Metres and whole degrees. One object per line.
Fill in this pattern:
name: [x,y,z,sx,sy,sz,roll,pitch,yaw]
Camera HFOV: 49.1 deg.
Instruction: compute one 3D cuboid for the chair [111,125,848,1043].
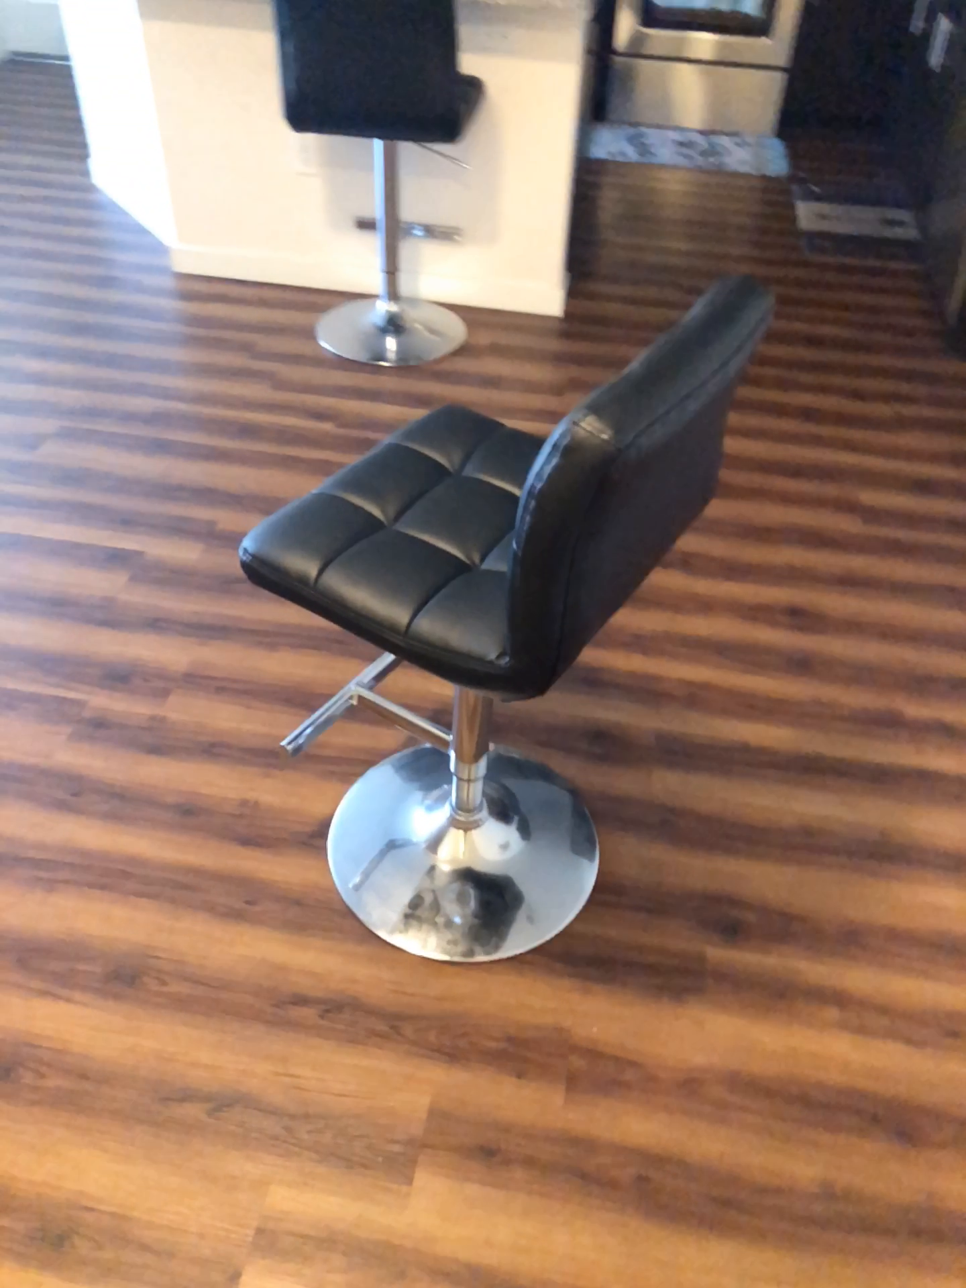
chair: [-0.005,-0.069,1.417,0.569,0.952,0.536,26,46,23]
